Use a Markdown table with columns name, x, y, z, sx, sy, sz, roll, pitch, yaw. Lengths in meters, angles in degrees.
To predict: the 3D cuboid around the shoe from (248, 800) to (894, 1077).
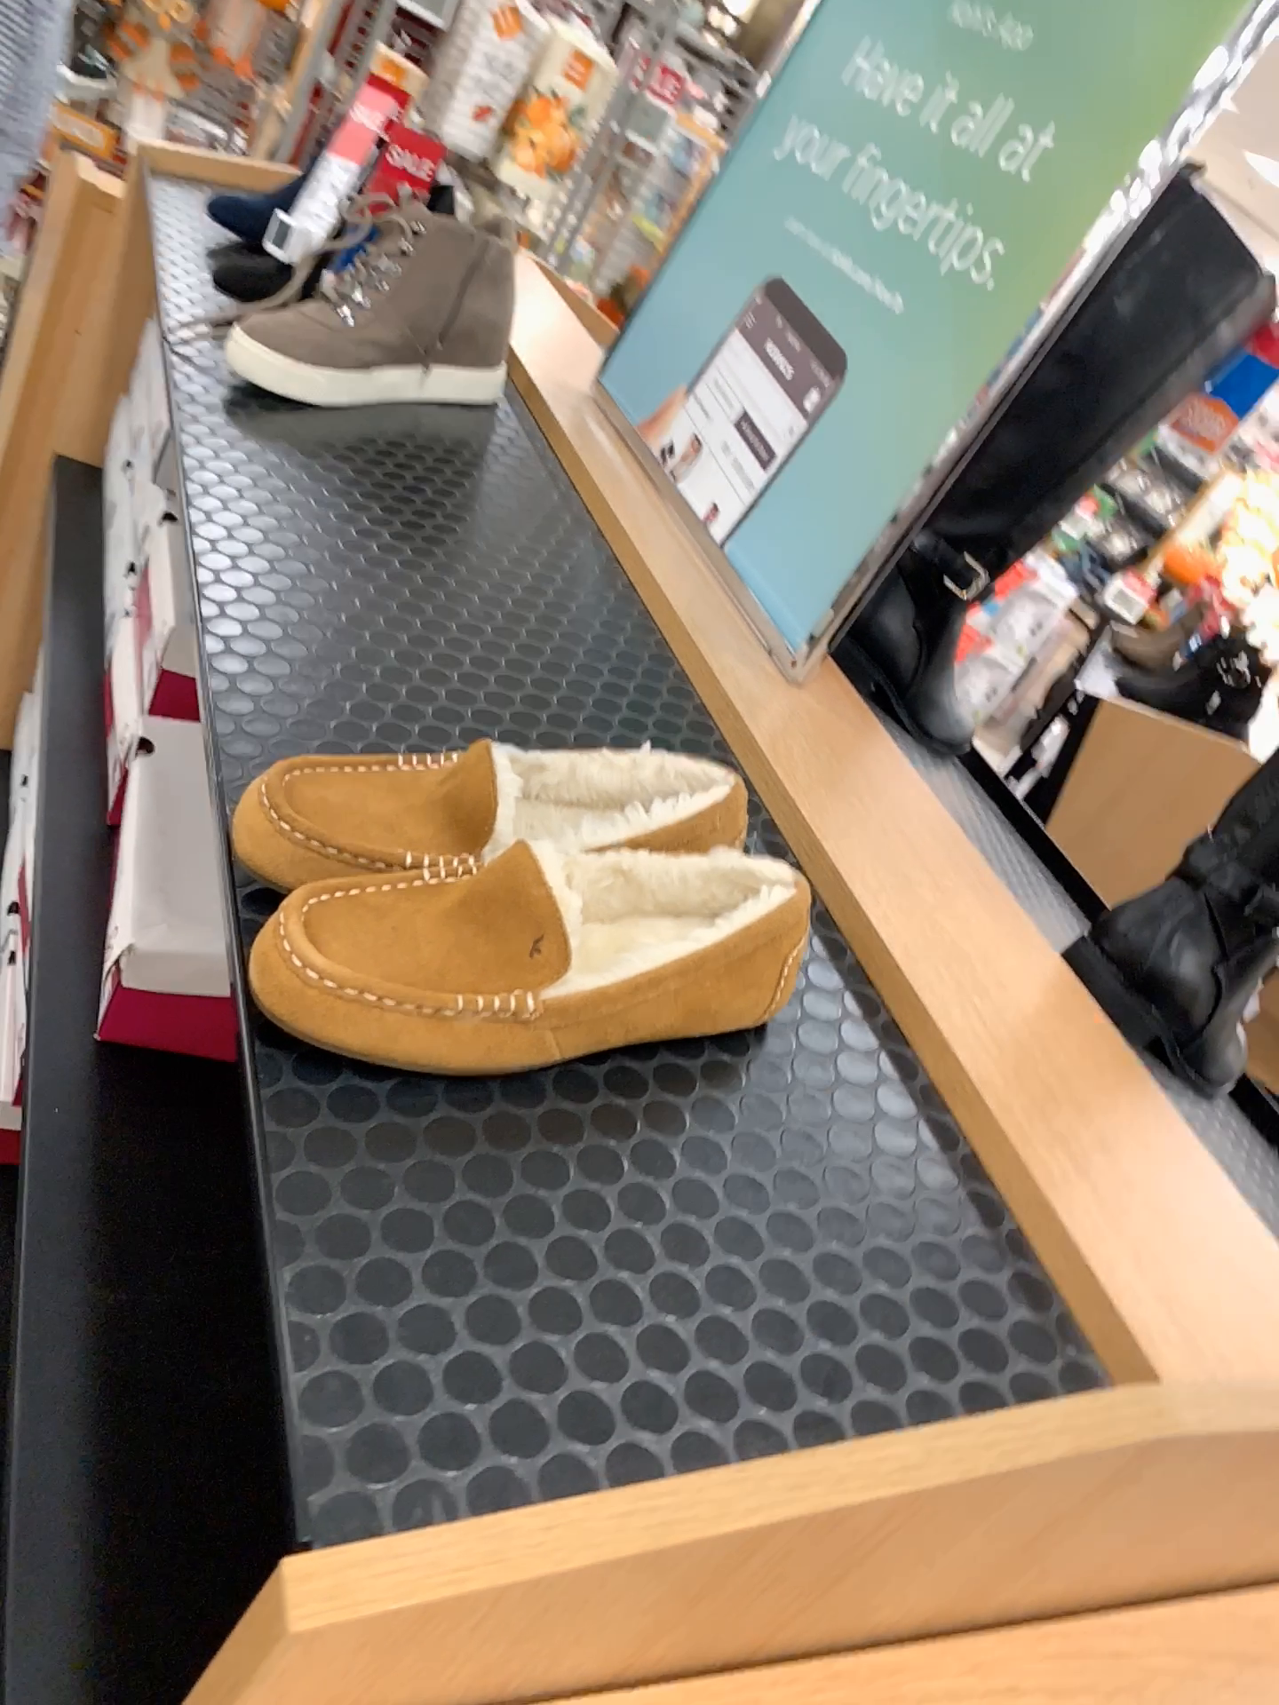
| name | x | y | z | sx | sy | sz | roll | pitch | yaw |
| --- | --- | --- | --- | --- | --- | --- | --- | --- | --- |
| shoe | -0.028 | 0.038 | 0.550 | 0.251 | 0.060 | 0.090 | 4 | 38 | -25 |

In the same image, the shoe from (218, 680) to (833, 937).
| name | x | y | z | sx | sy | sz | roll | pitch | yaw |
| --- | --- | --- | --- | --- | --- | --- | --- | --- | --- |
| shoe | -0.052 | -0.017 | 0.618 | 0.271 | 0.060 | 0.090 | 4 | 38 | -25 |
